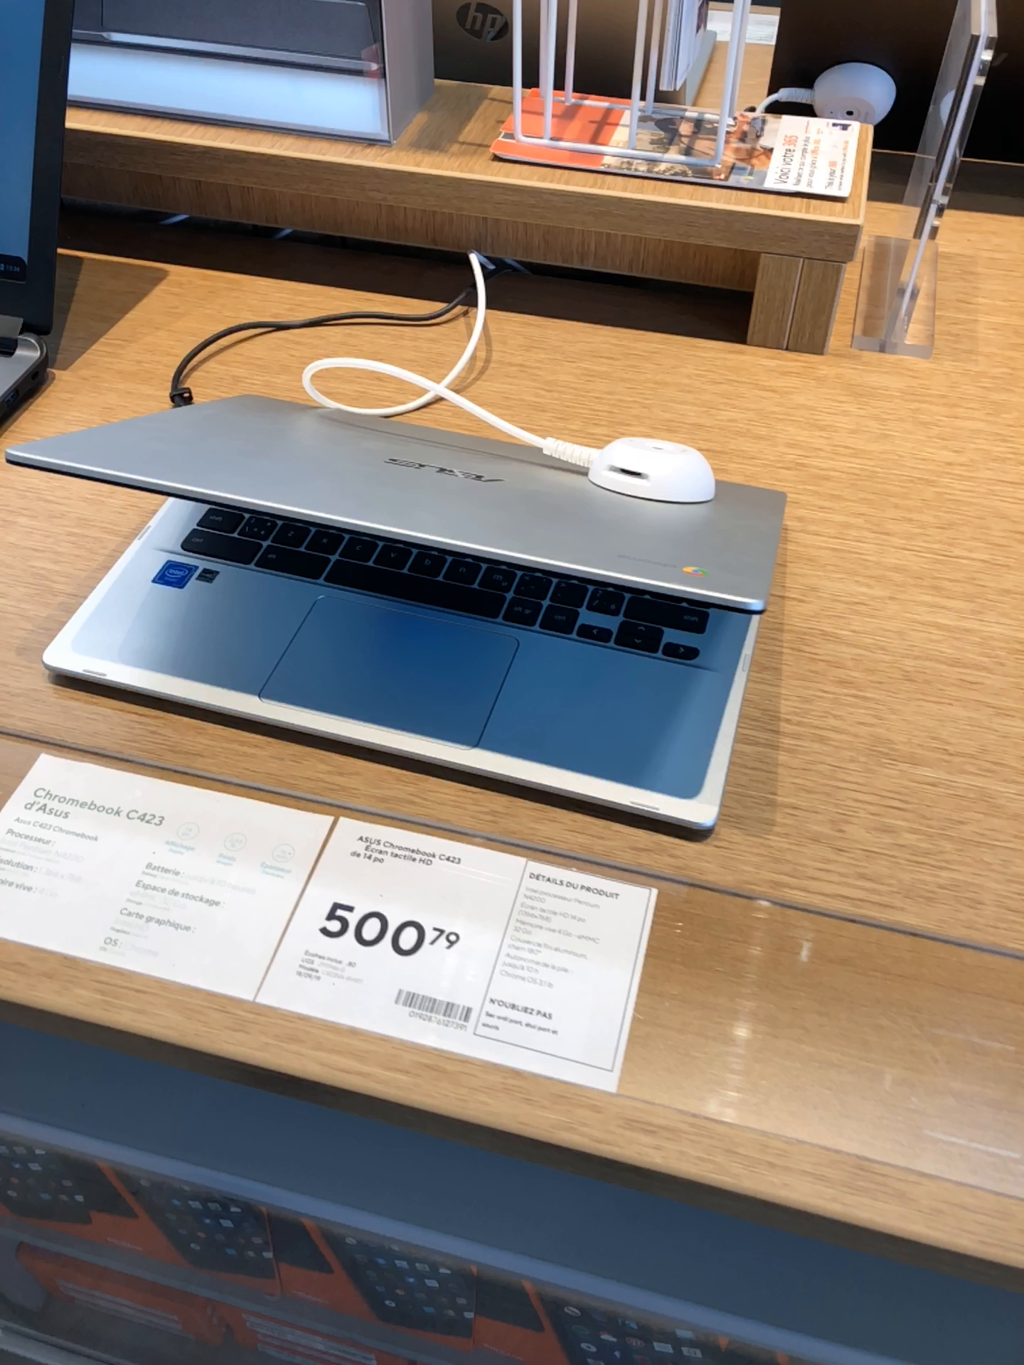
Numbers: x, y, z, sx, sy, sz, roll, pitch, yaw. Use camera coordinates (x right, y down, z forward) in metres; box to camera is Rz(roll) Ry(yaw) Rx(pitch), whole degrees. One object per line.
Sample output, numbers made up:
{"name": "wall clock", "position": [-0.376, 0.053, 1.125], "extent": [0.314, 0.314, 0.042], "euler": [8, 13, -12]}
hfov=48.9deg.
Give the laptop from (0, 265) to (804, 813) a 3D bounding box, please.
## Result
{"name": "laptop", "position": [-0.037, -0.082, 0.528], "extent": [0.304, 0.080, 0.206], "euler": [13, 51, 9]}
